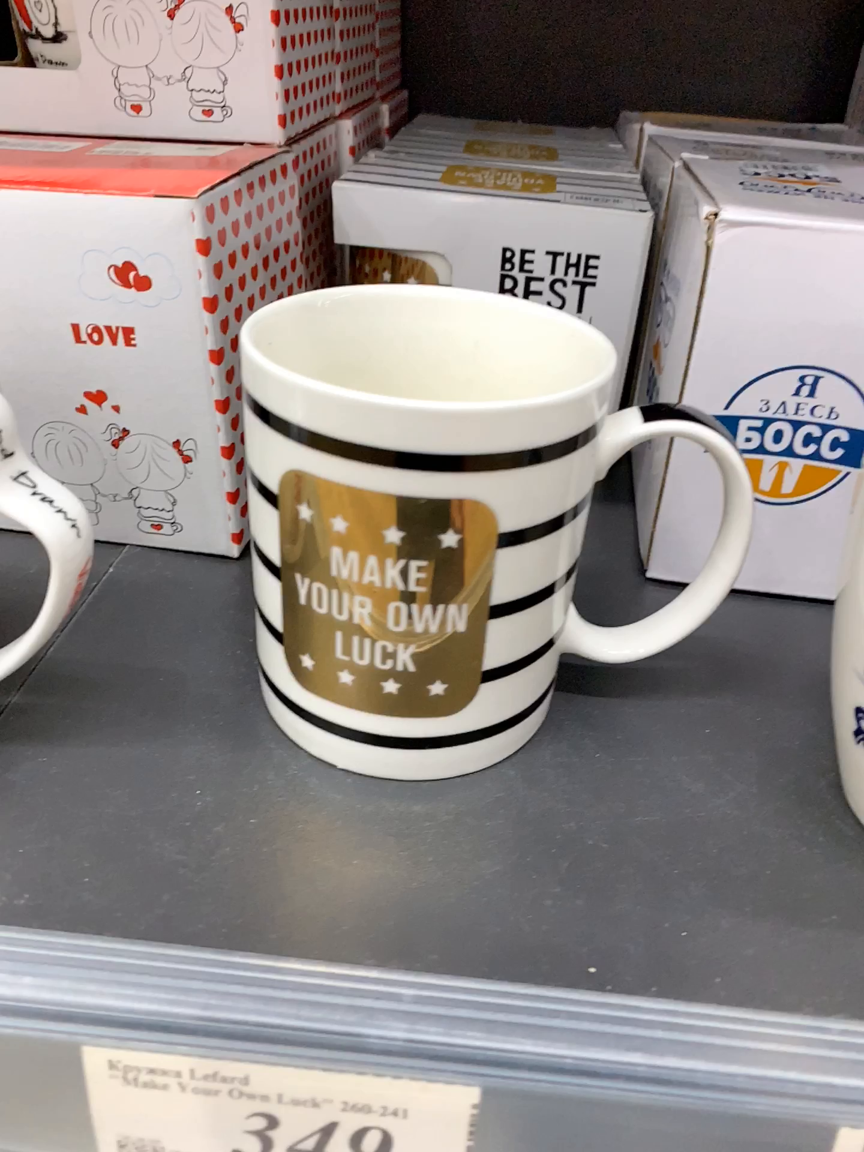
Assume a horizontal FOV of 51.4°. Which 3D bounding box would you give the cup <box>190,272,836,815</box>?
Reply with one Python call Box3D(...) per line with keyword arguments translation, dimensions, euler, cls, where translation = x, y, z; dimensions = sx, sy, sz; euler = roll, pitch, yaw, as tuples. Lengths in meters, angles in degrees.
Box3D(translation=(0.013, -0.011, 0.219), dimensions=(0.114, 0.096, 0.082), euler=(4, 33, 1), cls="cup")
